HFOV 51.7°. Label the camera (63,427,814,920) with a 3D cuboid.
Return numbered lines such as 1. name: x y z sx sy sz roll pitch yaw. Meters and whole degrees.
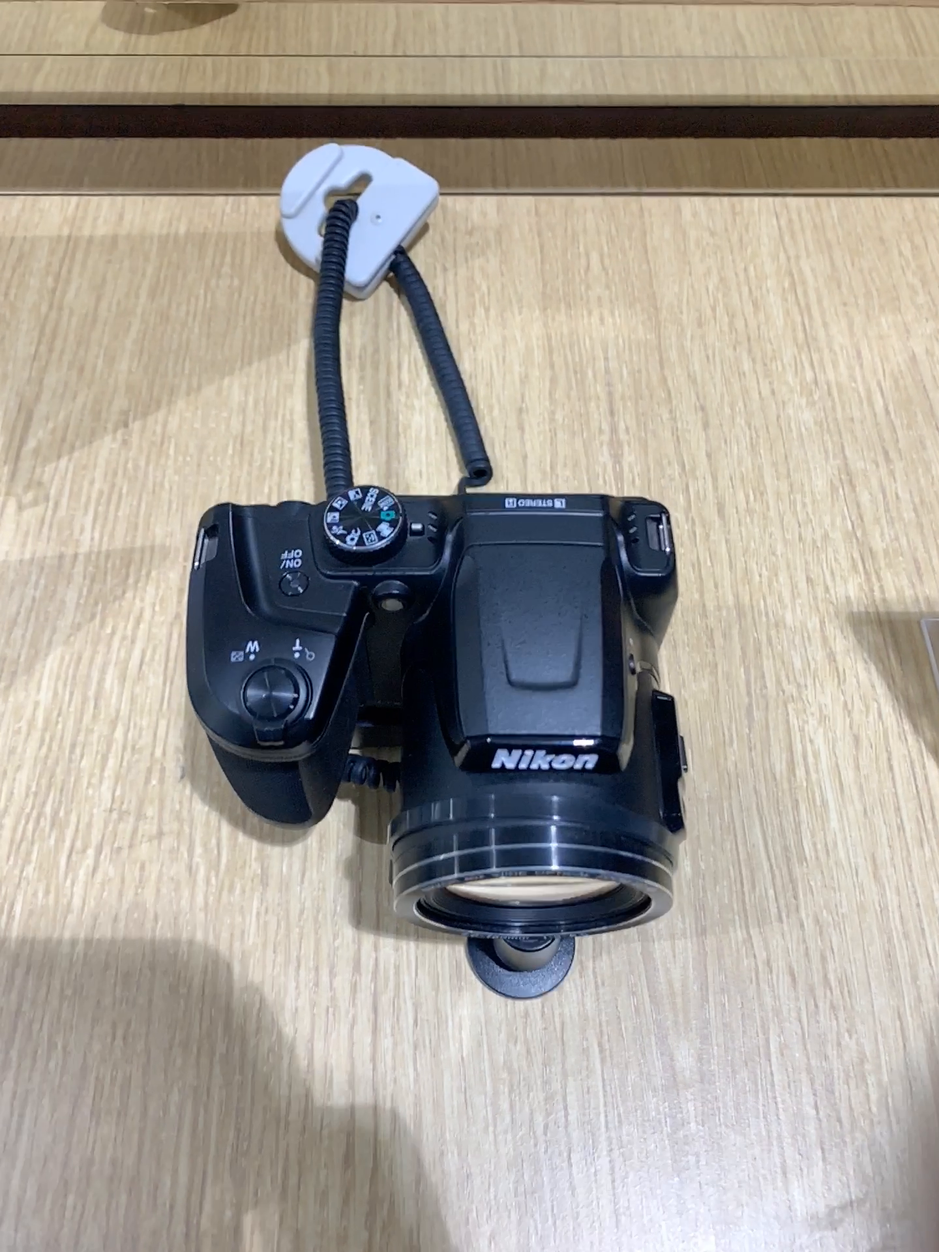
1. camera: -0.006 0.013 0.205 0.120 0.070 0.080 -1 61 -1
